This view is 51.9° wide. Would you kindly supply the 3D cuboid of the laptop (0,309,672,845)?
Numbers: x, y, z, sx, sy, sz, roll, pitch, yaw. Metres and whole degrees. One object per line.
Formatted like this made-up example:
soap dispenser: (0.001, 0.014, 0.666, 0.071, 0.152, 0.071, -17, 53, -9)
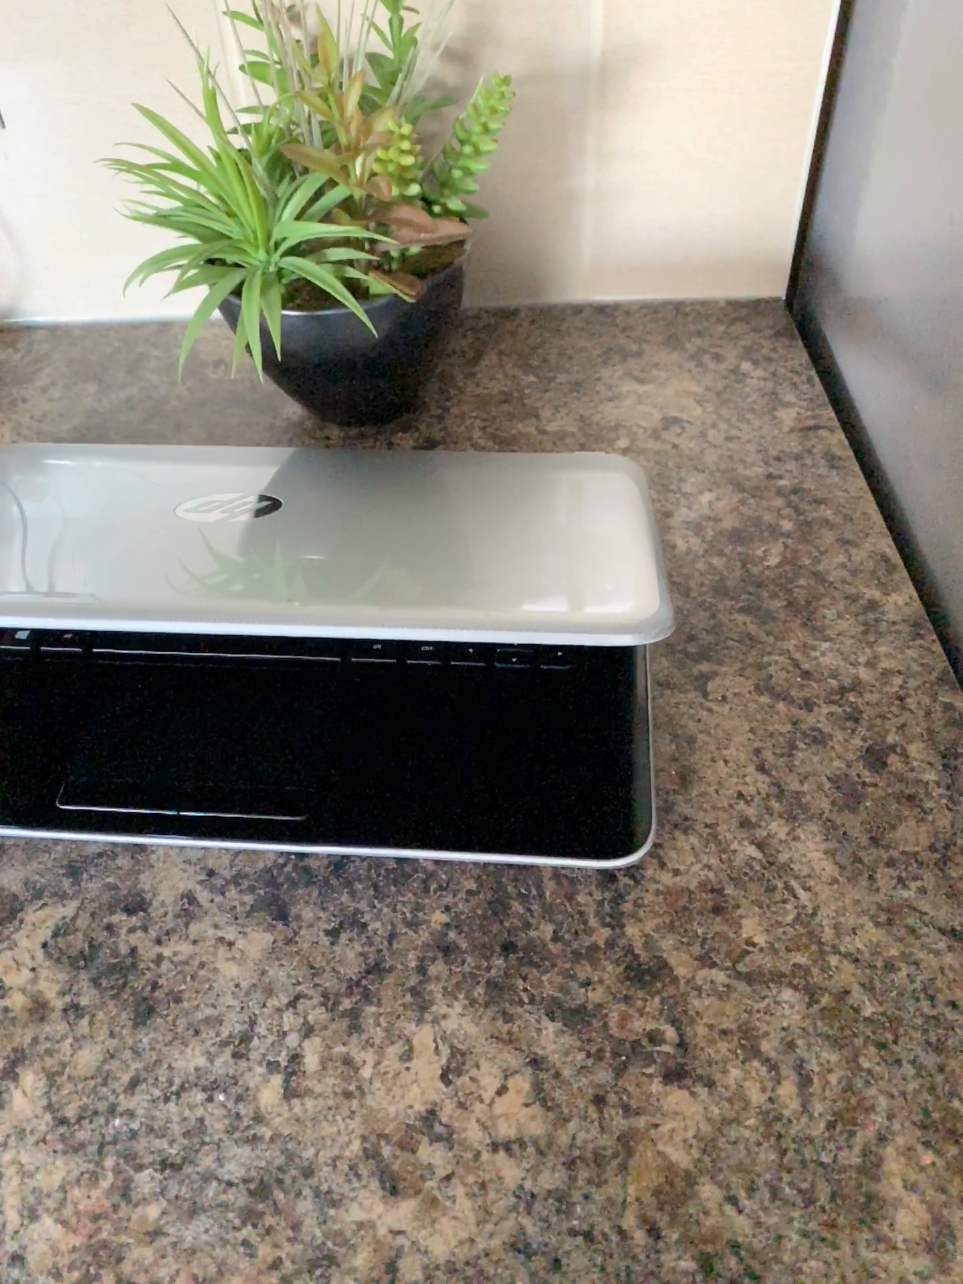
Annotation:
laptop: (-0.099, -0.040, 0.392, 0.328, 0.081, 0.208, 1, 47, 5)
